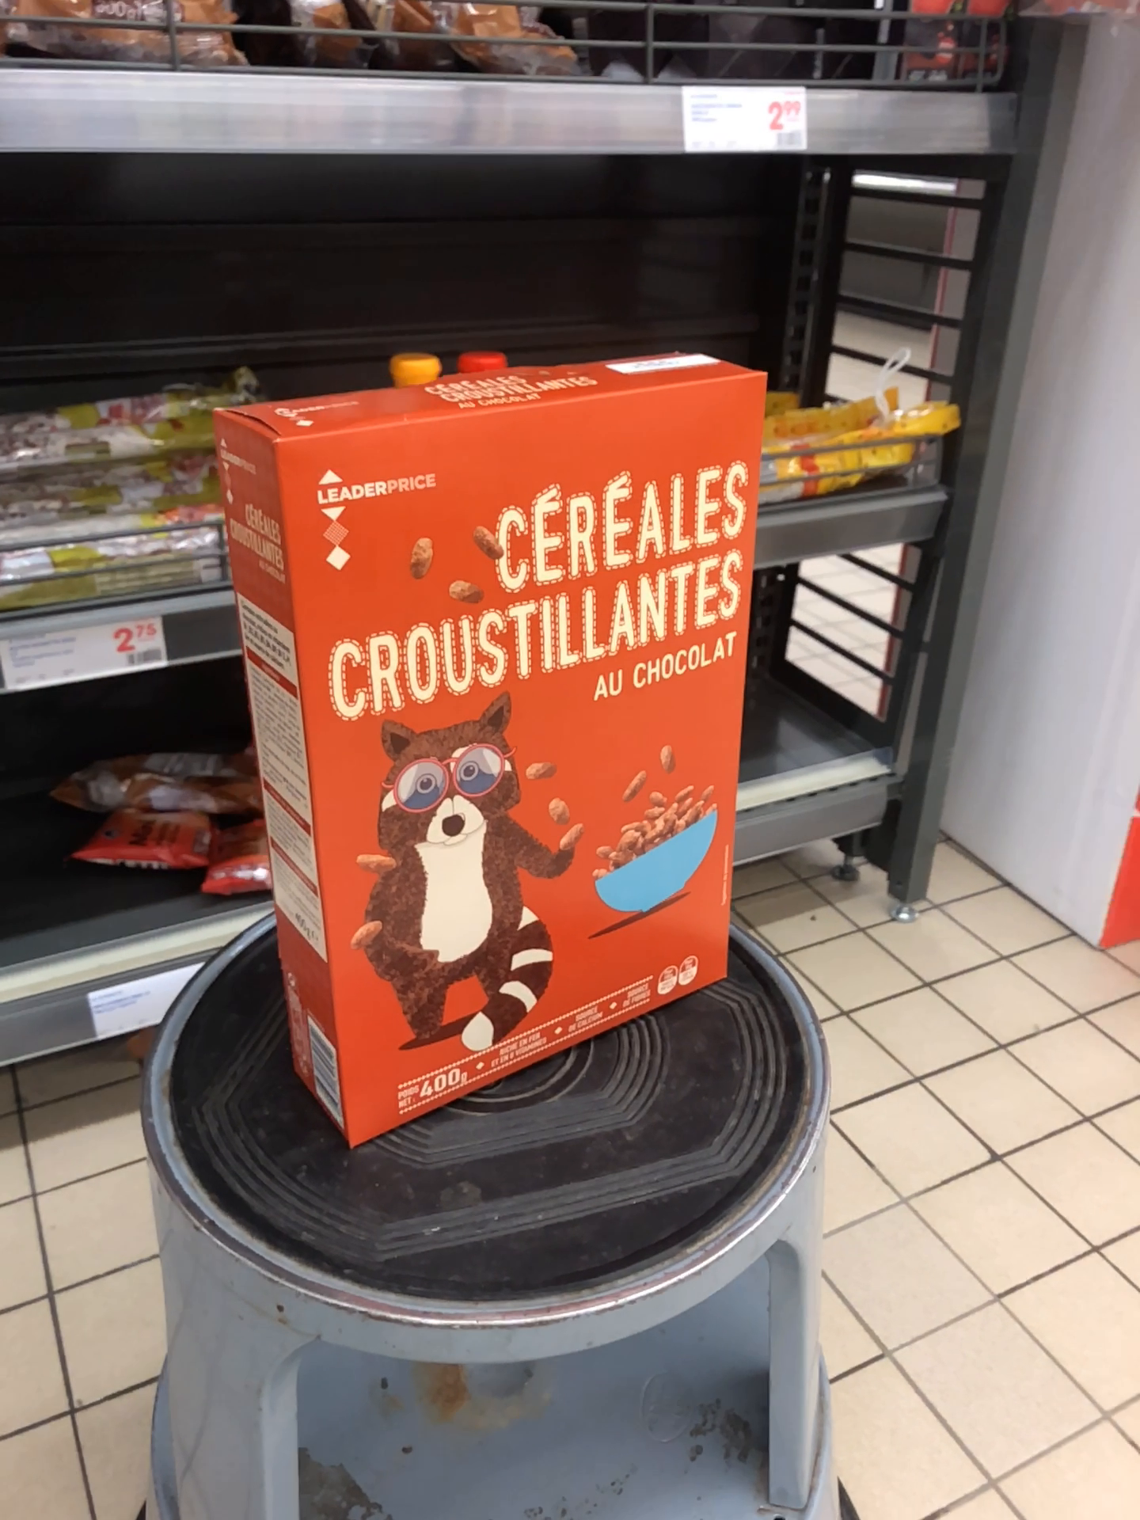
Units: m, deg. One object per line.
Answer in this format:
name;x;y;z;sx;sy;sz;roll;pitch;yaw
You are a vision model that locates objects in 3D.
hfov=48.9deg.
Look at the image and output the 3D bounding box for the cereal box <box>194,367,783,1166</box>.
cereal box;-0.023;-0.002;0.472;0.191;0.259;0.060;-16;32;-31
